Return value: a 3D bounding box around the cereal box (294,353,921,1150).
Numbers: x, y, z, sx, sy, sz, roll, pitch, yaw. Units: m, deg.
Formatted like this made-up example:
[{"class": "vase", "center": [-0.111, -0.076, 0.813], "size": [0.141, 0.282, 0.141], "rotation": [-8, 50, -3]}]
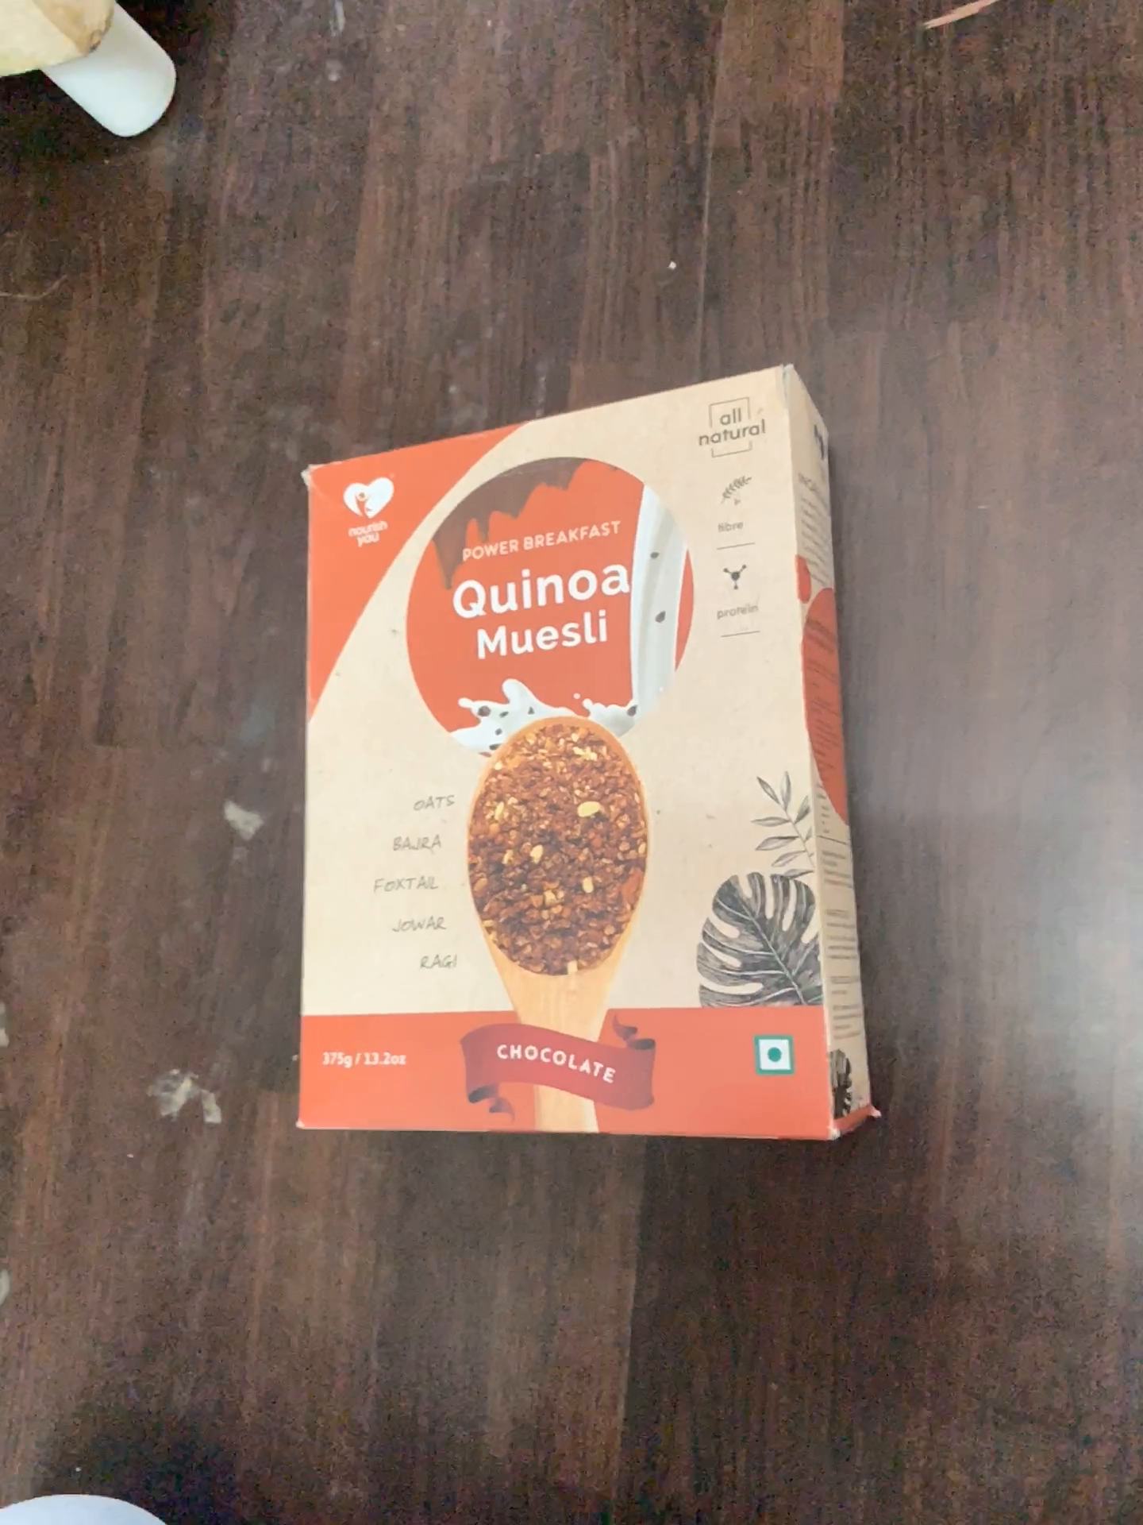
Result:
[{"class": "cereal box", "center": [0.010, 0.004, 0.368], "size": [0.170, 0.070, 0.210], "rotation": [-5, 77, 22]}]
